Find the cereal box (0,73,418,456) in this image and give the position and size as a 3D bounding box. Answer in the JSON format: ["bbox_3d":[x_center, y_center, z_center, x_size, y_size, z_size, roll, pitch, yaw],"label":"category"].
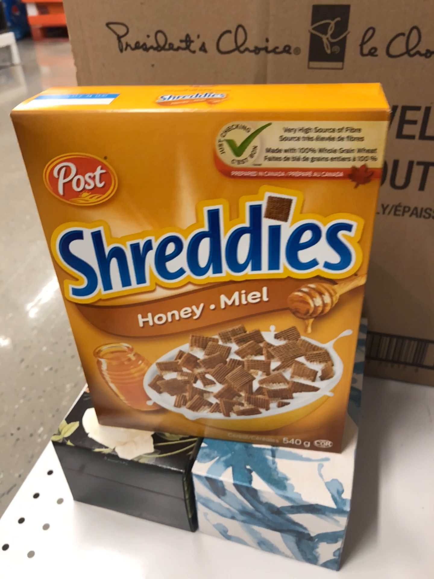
[{"bbox_3d":[-0.005,-0.004,0.339,0.220,0.259,0.060,3,35,9],"label":"cereal box"}]
